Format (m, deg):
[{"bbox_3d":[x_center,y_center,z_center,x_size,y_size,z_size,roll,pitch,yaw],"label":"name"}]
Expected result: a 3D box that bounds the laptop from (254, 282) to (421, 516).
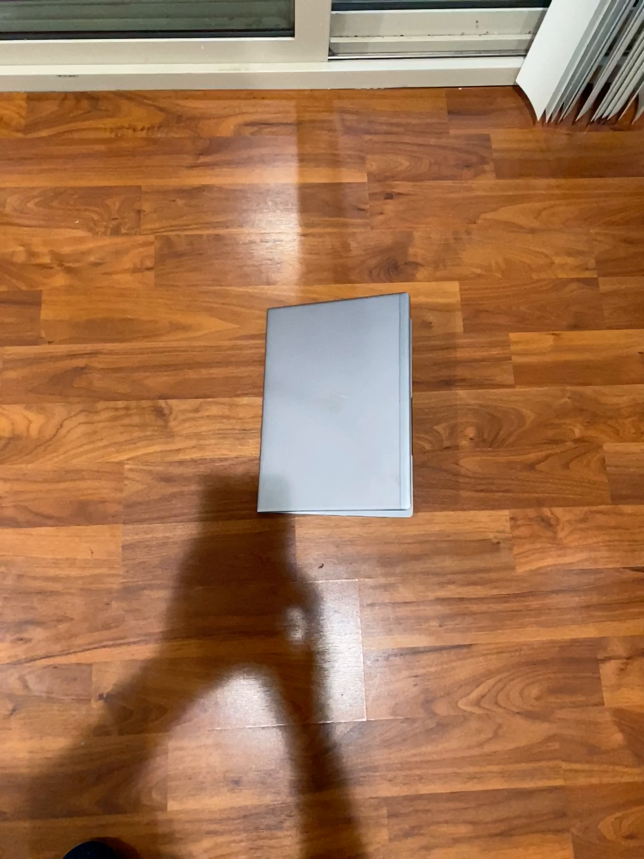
[{"bbox_3d":[0.024,-0.044,0.968,0.230,0.078,0.325,2,76,-3],"label":"laptop"}]
